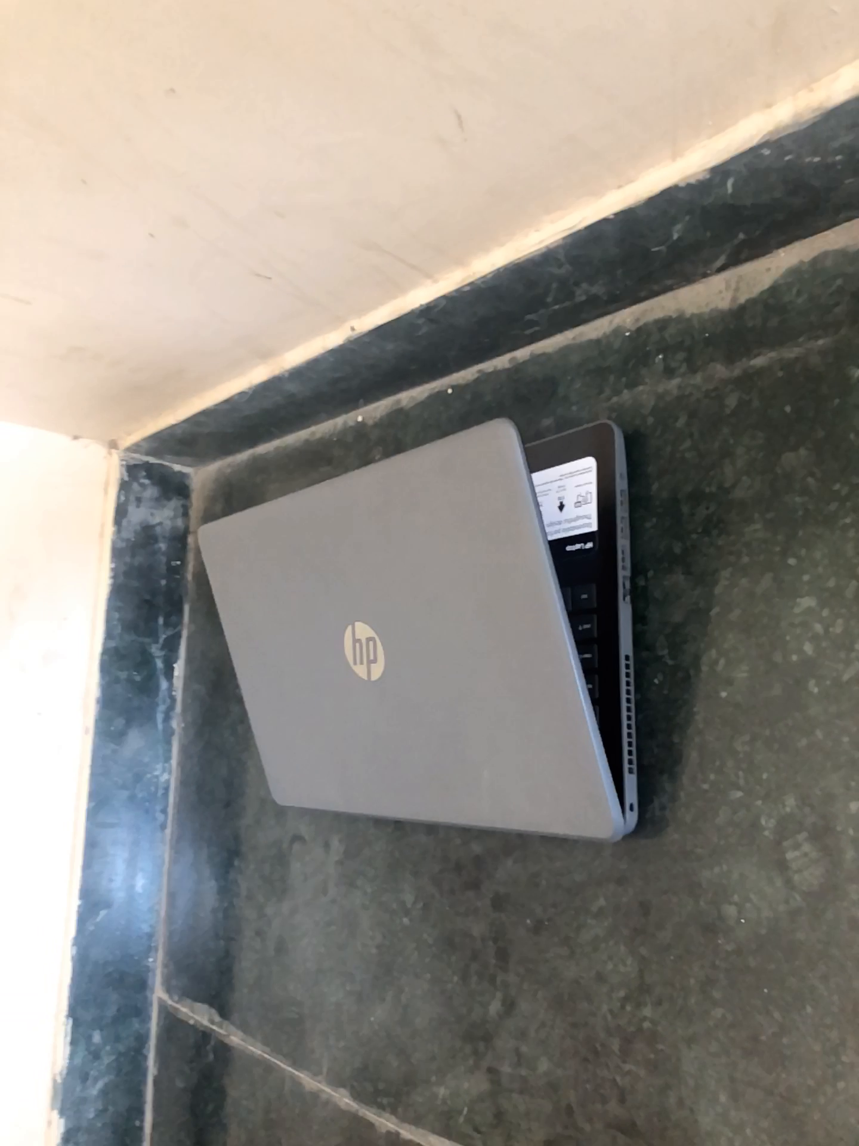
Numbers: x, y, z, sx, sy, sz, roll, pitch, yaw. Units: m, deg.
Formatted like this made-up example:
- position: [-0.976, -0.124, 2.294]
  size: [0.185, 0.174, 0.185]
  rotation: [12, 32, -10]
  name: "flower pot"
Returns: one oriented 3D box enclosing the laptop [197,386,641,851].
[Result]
- position: [-0.034, 0.047, 0.653]
  size: [0.358, 0.092, 0.243]
  rotation: [-12, 75, 49]
  name: "laptop"
